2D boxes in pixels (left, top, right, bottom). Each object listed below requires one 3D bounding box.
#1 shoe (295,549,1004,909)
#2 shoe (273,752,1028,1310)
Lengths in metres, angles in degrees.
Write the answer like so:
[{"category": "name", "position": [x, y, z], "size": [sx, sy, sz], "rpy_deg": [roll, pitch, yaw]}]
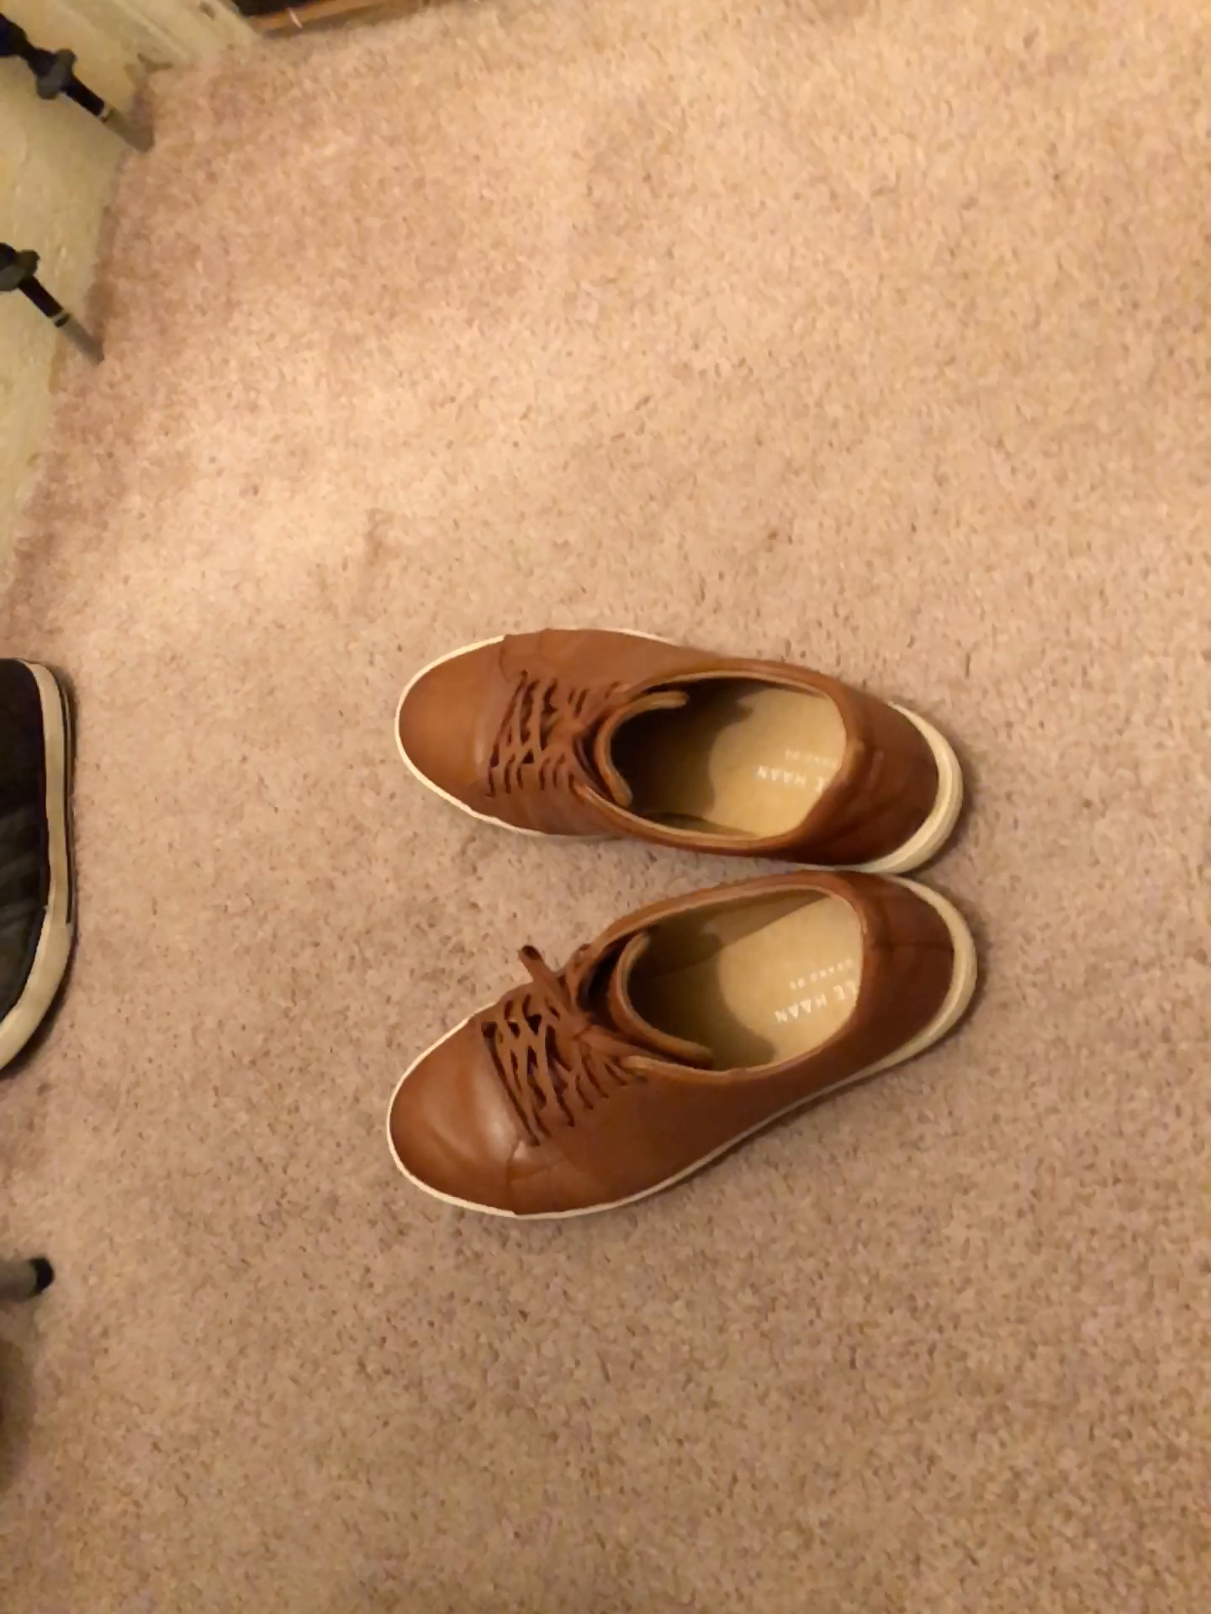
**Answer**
[{"category": "shoe", "position": [0.012, -0.037, 0.586], "size": [0.286, 0.102, 0.117], "rpy_deg": [6, 83, 34]}, {"category": "shoe", "position": [0.008, 0.104, 0.557], "size": [0.285, 0.100, 0.117], "rpy_deg": [-29, 65, 24]}]
